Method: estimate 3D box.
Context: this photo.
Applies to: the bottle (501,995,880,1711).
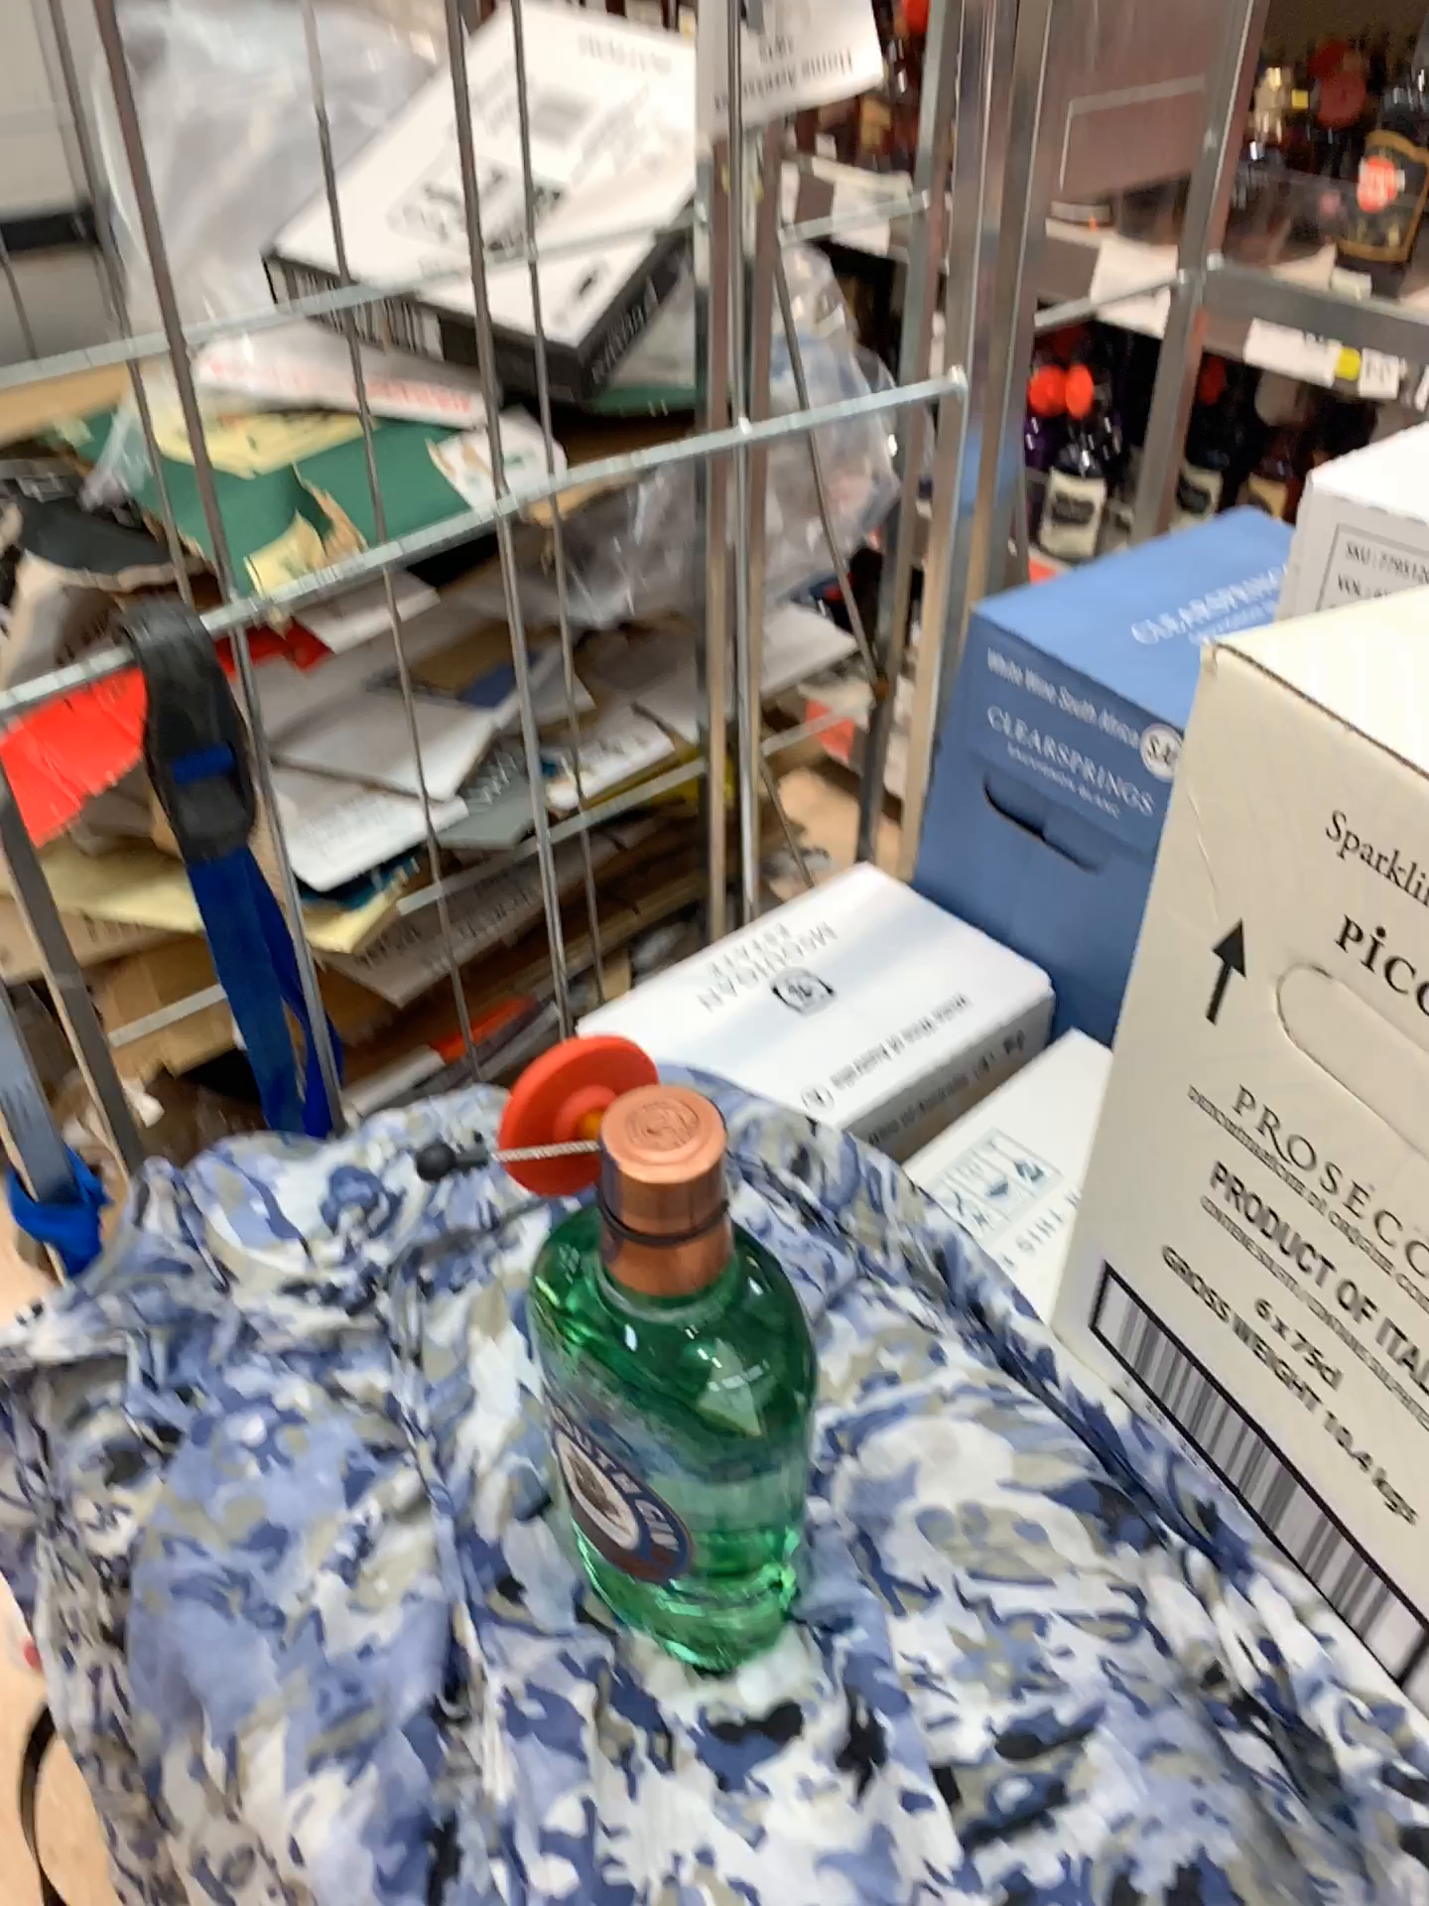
[{"bbox_3d":[-0.010,0.136,0.472,0.058,0.228,0.095,-27,47,-30],"label":"bottle"}]
